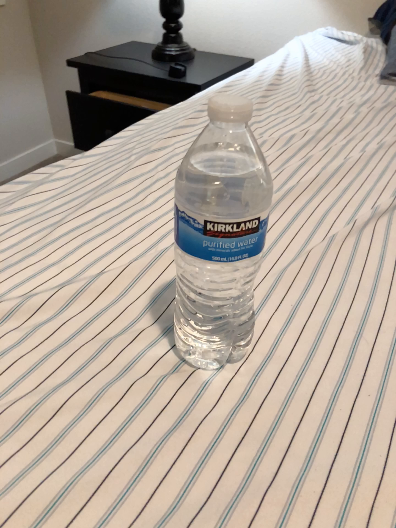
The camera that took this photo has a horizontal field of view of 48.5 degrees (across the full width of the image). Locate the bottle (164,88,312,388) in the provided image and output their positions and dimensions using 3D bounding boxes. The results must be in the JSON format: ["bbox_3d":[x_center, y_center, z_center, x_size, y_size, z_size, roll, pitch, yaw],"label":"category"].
[{"bbox_3d":[0.018,-0.009,0.308,0.070,0.199,0.070,0,37,0],"label":"bottle"}]
